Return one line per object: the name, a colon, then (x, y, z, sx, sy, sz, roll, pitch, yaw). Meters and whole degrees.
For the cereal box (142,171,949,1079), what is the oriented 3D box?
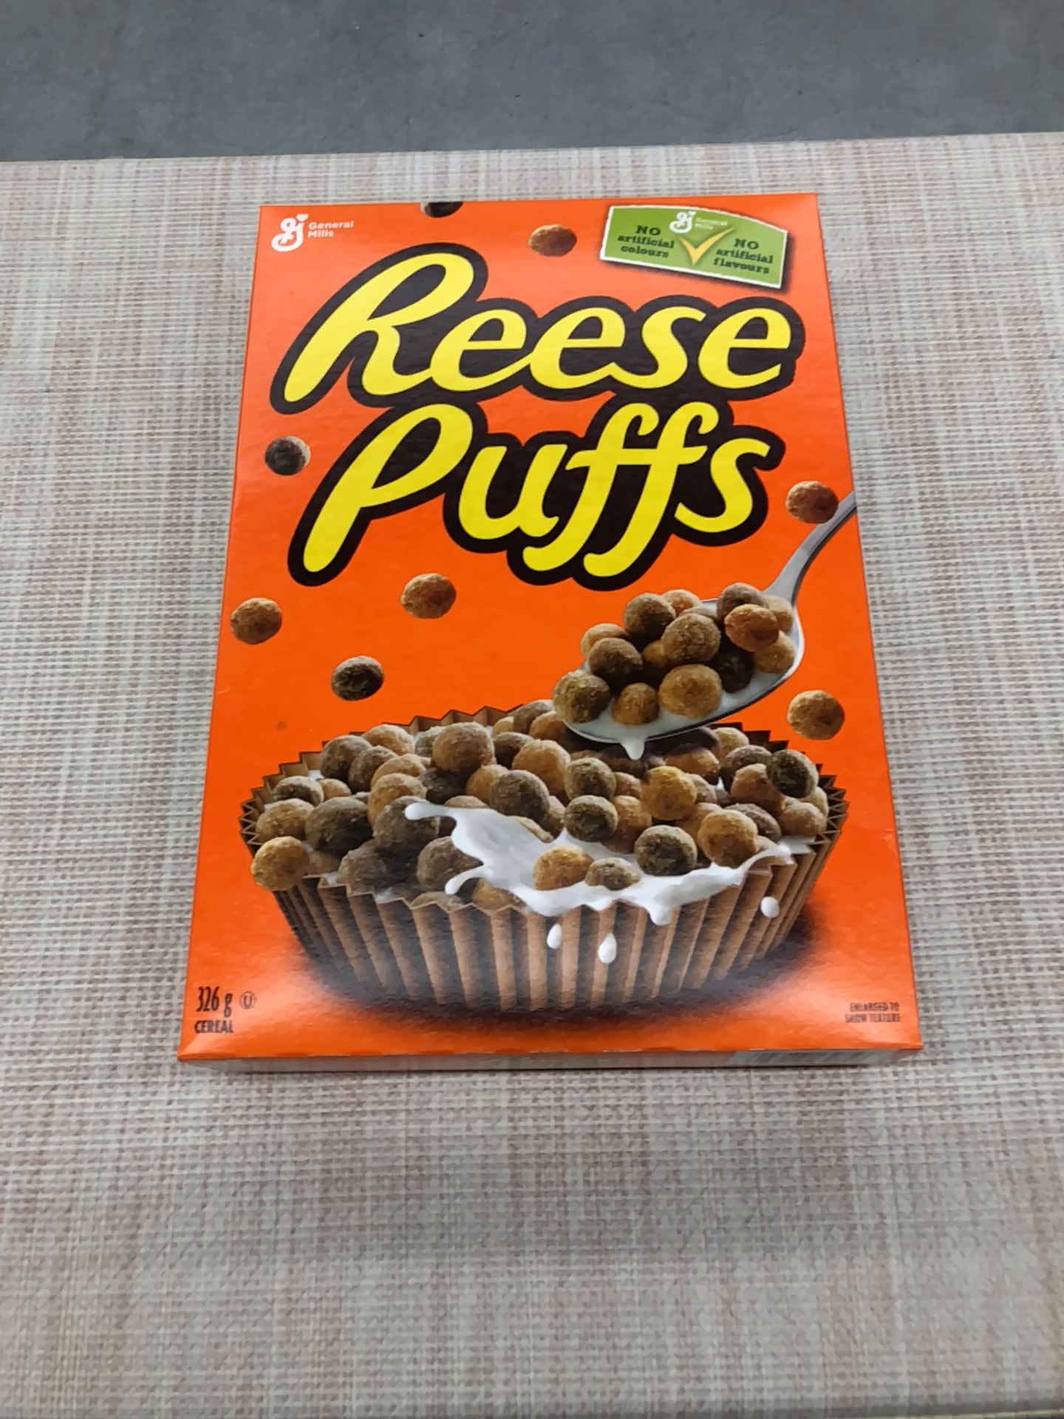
cereal box: (0.001, -0.034, 0.366, 0.200, 0.060, 0.281, 0, 70, -2)
